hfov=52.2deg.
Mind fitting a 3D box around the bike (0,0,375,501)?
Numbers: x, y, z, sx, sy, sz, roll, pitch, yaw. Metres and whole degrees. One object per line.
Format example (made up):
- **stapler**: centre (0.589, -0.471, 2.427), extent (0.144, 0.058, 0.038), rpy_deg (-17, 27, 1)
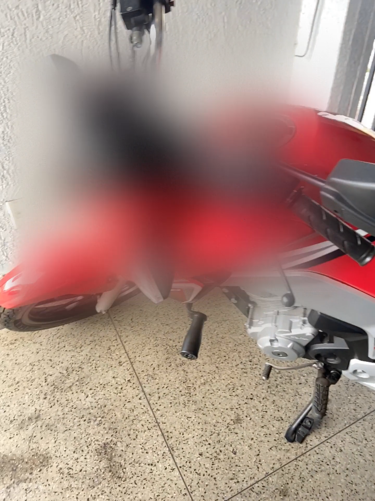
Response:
- **bike**: centre (0.319, 0.184, 0.910), extent (1.990, 1.421, 0.873), rpy_deg (4, 37, 10)
